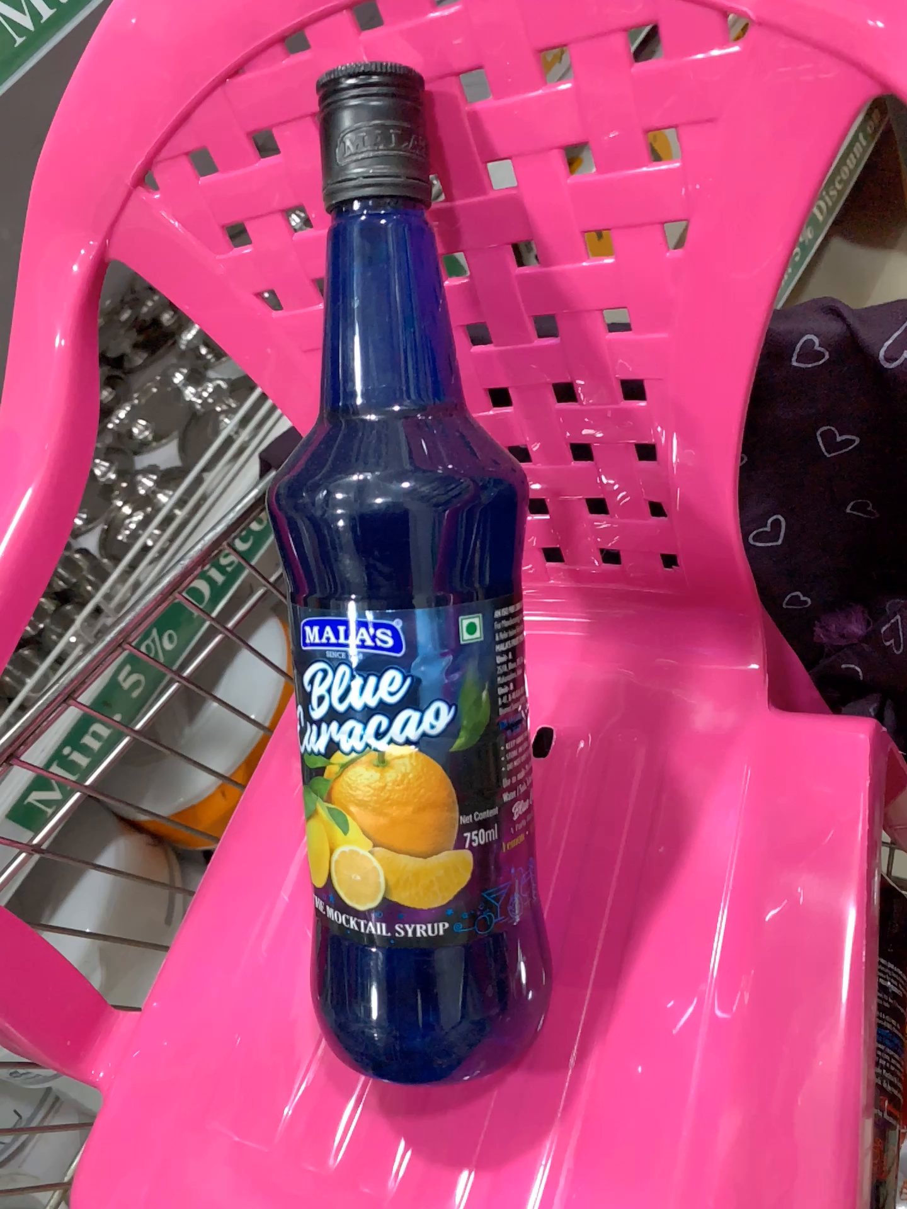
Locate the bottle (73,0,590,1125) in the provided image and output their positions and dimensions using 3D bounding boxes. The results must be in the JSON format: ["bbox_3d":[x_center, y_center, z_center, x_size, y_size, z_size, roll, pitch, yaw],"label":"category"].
[{"bbox_3d":[-0.022,-0.008,0.263,0.080,0.270,0.080,-6,12,1],"label":"bottle"}]
